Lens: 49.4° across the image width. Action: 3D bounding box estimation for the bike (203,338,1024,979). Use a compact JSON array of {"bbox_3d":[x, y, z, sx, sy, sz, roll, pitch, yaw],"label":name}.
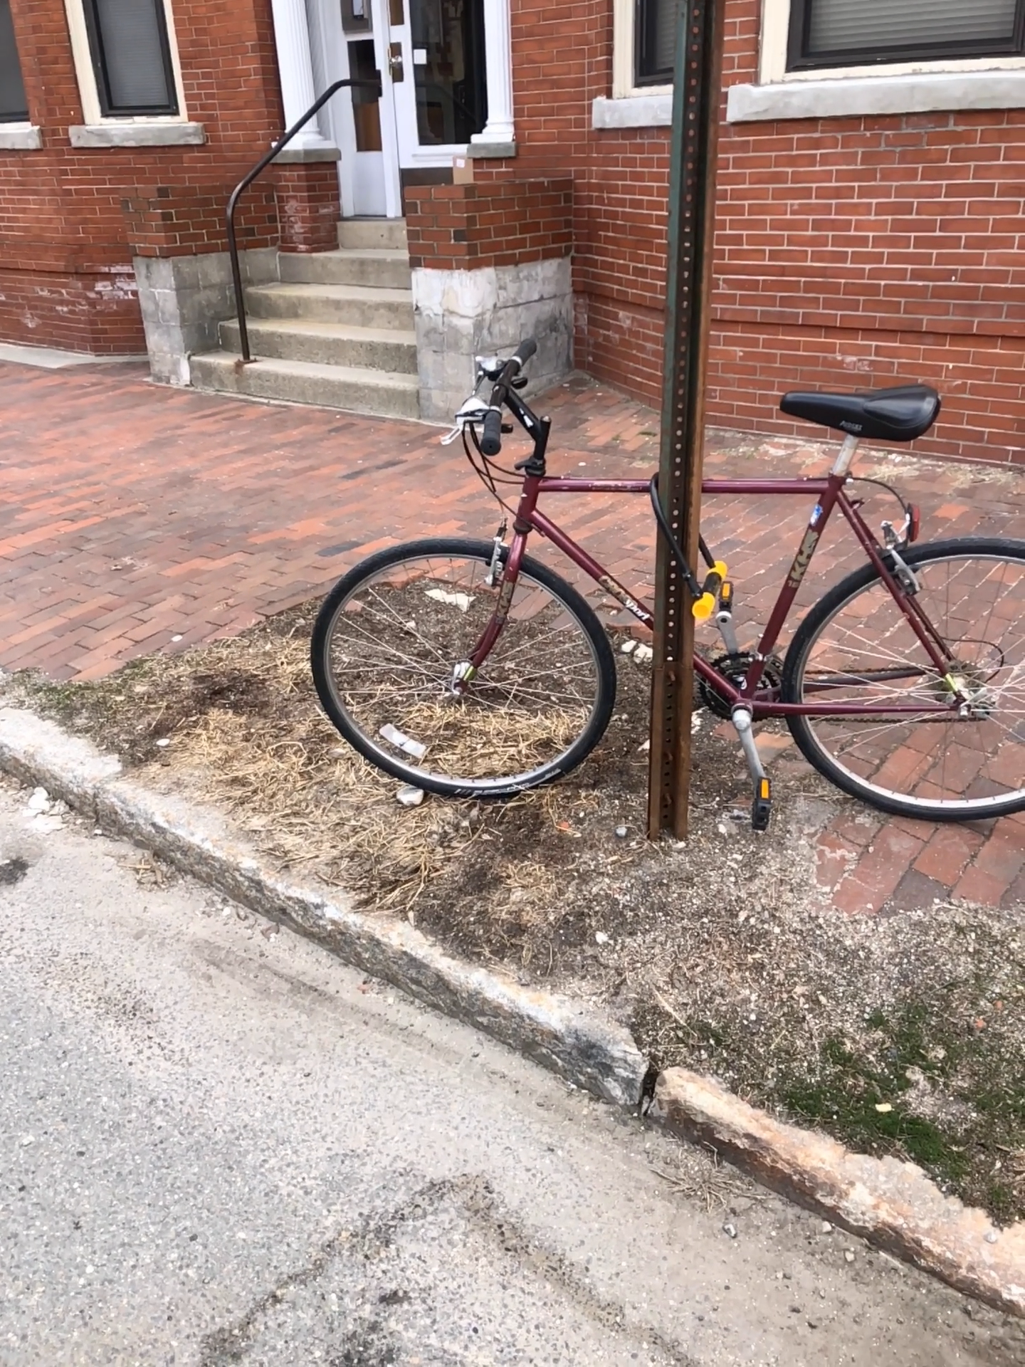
[{"bbox_3d":[0.395,-0.118,2.255,1.726,1.012,0.671,3,25,11],"label":"bike"}]
